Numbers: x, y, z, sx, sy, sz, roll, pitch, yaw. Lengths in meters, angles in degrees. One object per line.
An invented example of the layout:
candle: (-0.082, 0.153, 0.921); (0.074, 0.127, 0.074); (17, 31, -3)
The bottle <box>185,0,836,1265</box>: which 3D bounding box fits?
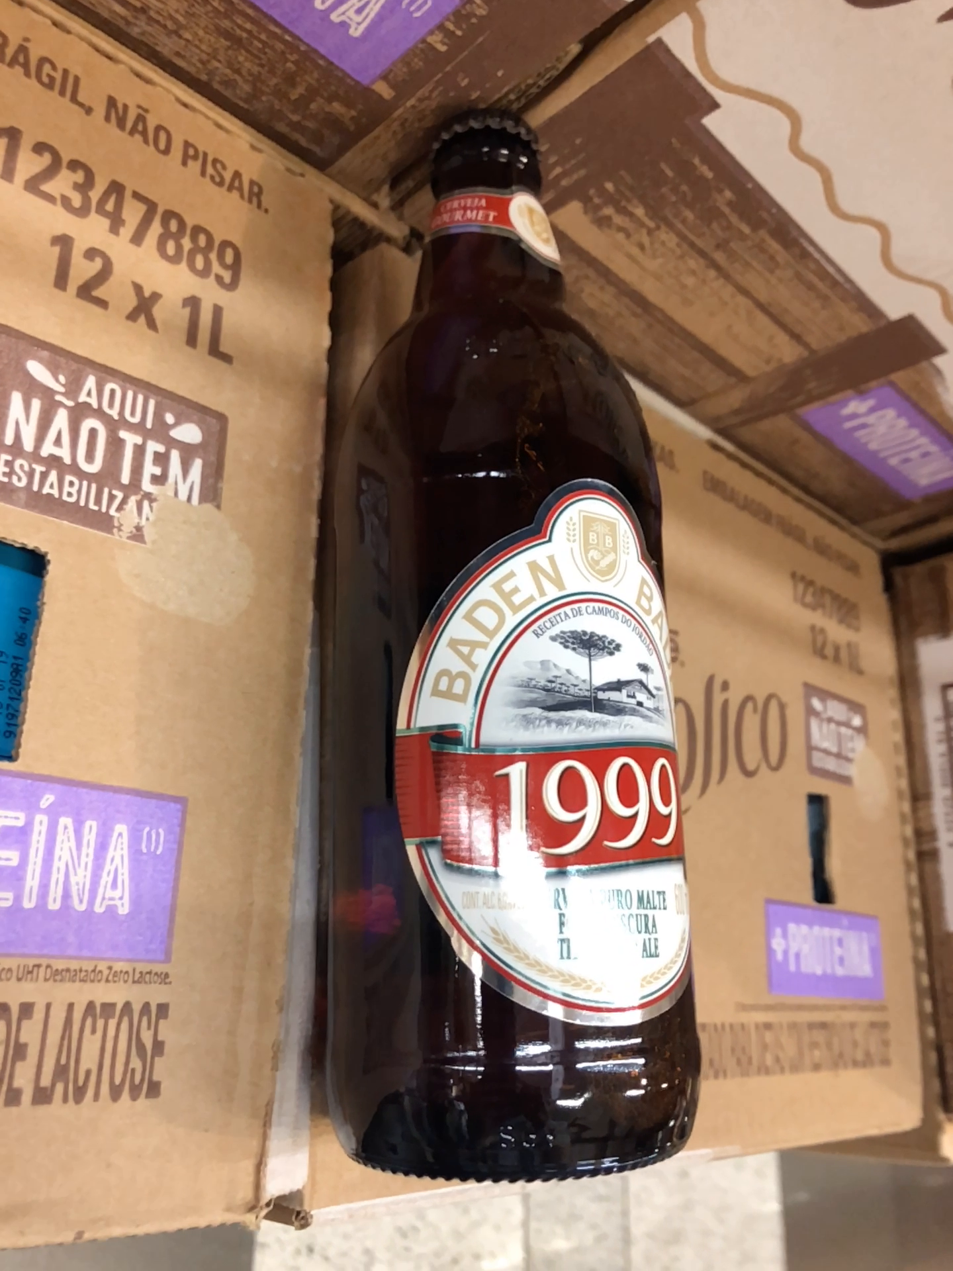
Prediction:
bottle: (-0.002, -0.027, 0.256); (0.091, 0.099, 0.280); (11, 69, -44)
